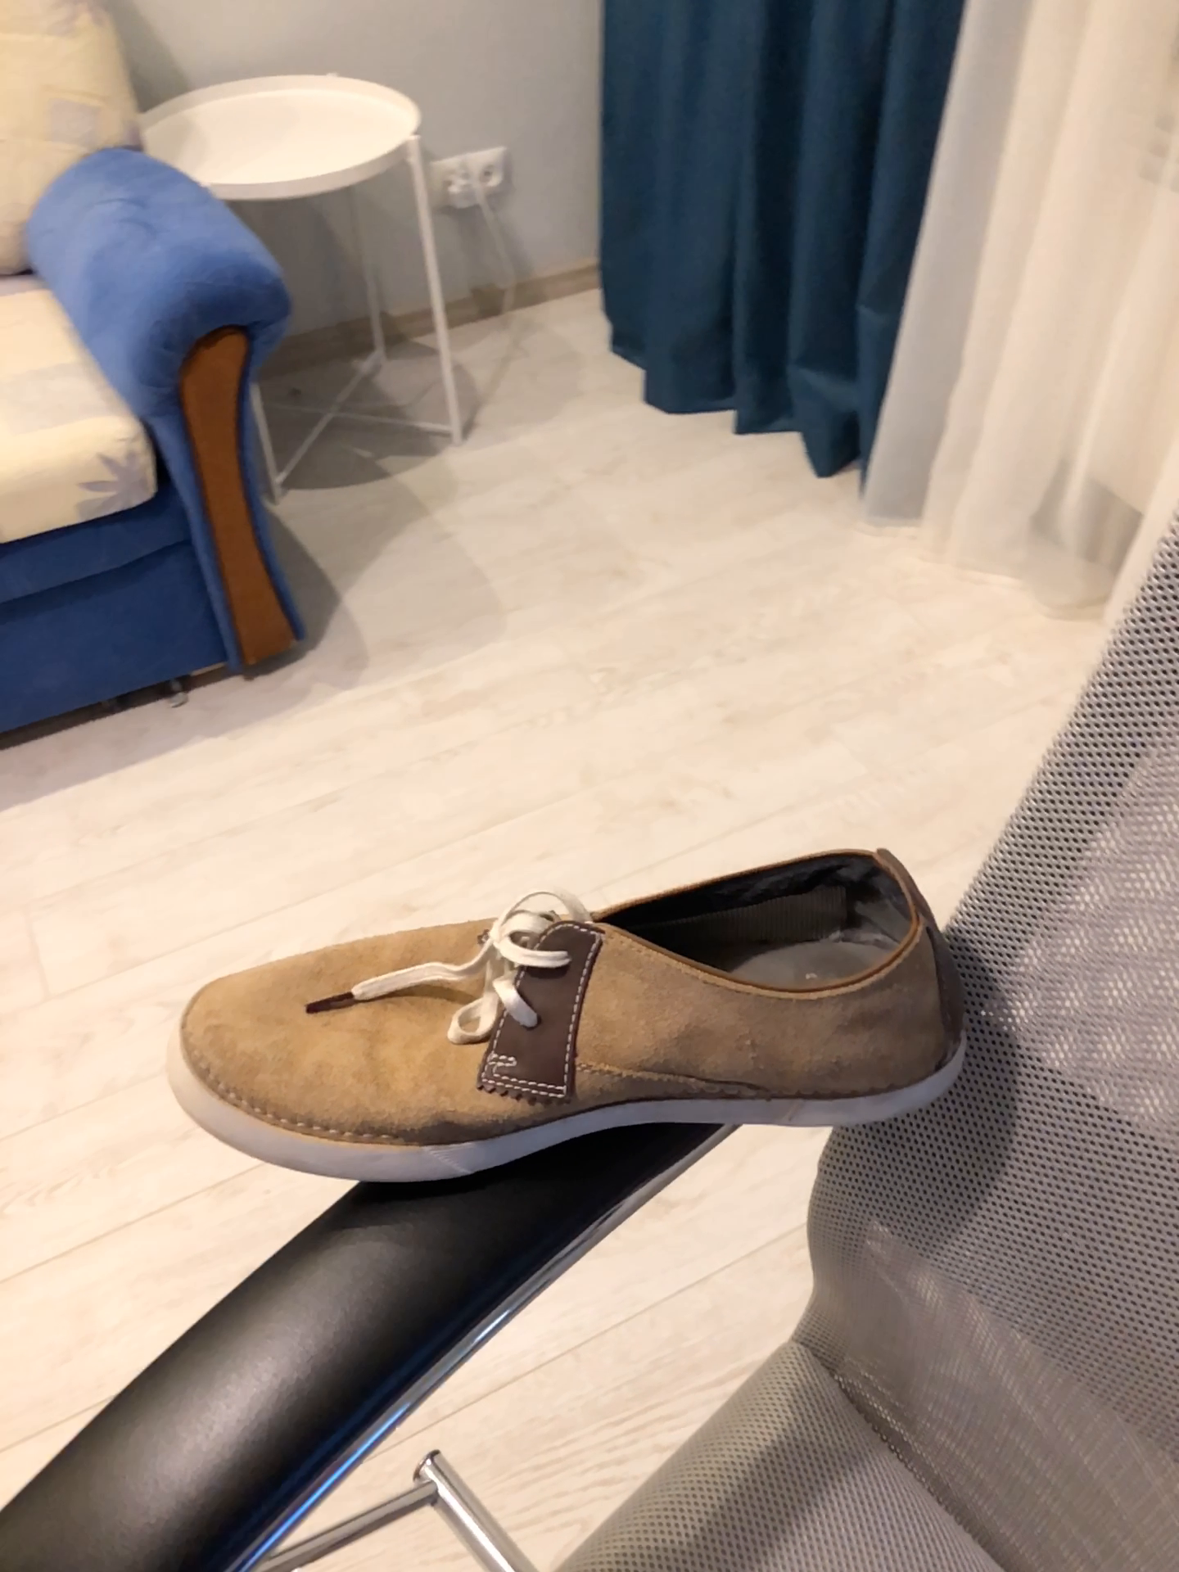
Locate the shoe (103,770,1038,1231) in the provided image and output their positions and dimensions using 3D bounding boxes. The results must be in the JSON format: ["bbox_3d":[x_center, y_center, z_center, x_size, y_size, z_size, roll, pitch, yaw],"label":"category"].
[{"bbox_3d":[-0.008,0.079,0.496,0.310,0.079,0.121,-5,45,-3],"label":"shoe"}]
